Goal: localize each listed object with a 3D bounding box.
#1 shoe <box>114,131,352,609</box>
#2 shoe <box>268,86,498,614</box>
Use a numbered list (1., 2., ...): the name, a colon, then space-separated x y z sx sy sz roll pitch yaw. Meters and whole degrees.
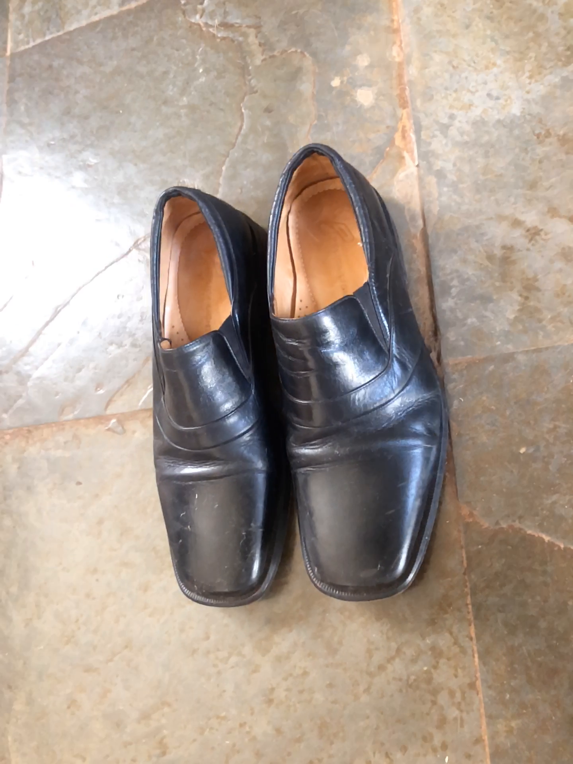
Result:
1. shoe: -0.033 -0.002 0.427 0.110 0.110 0.280 -8 75 20
2. shoe: 0.059 -0.013 0.389 0.100 0.110 0.280 -7 75 21
